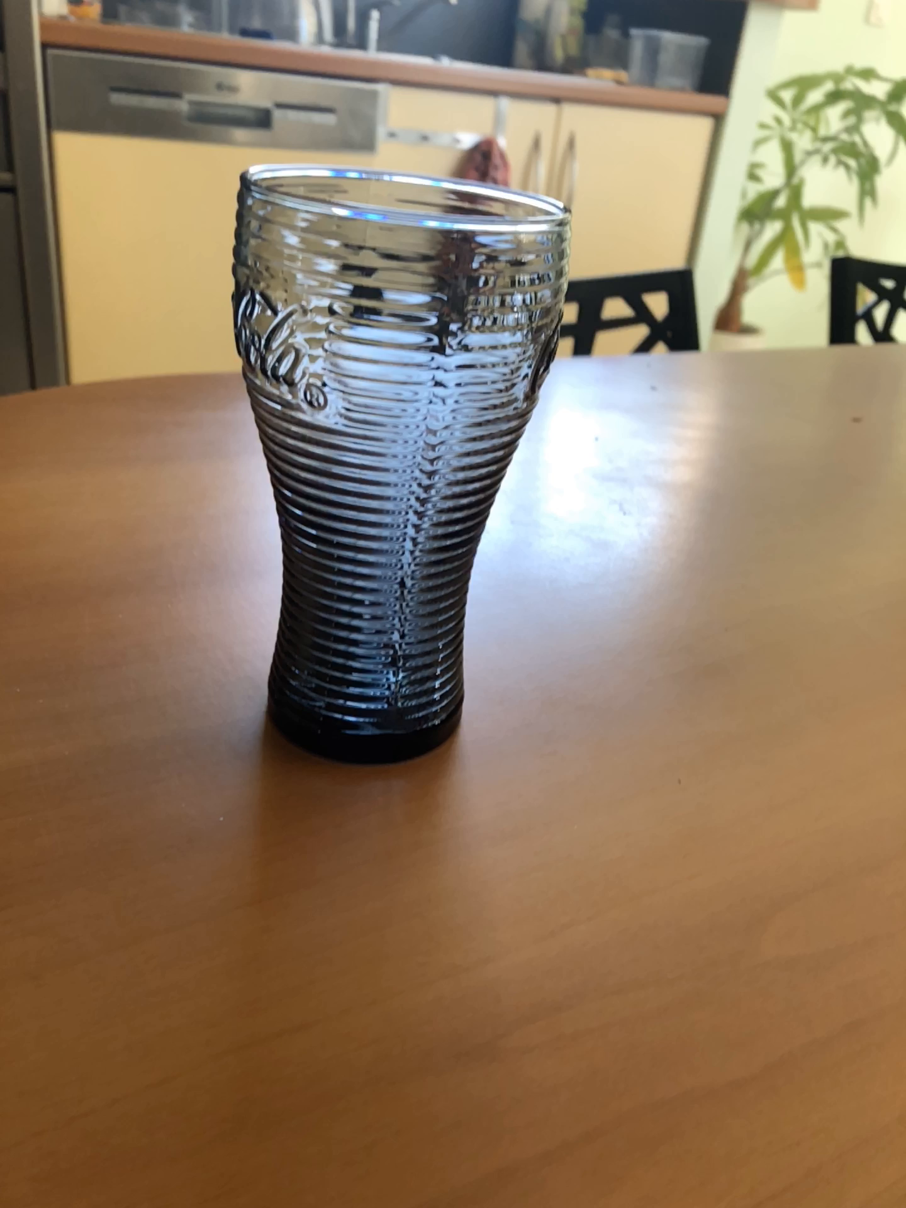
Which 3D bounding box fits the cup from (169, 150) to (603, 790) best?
[{"bbox_3d":[-0.015,-0.037,0.254,0.080,0.129,0.081,5,28,-3],"label":"cup"}]
